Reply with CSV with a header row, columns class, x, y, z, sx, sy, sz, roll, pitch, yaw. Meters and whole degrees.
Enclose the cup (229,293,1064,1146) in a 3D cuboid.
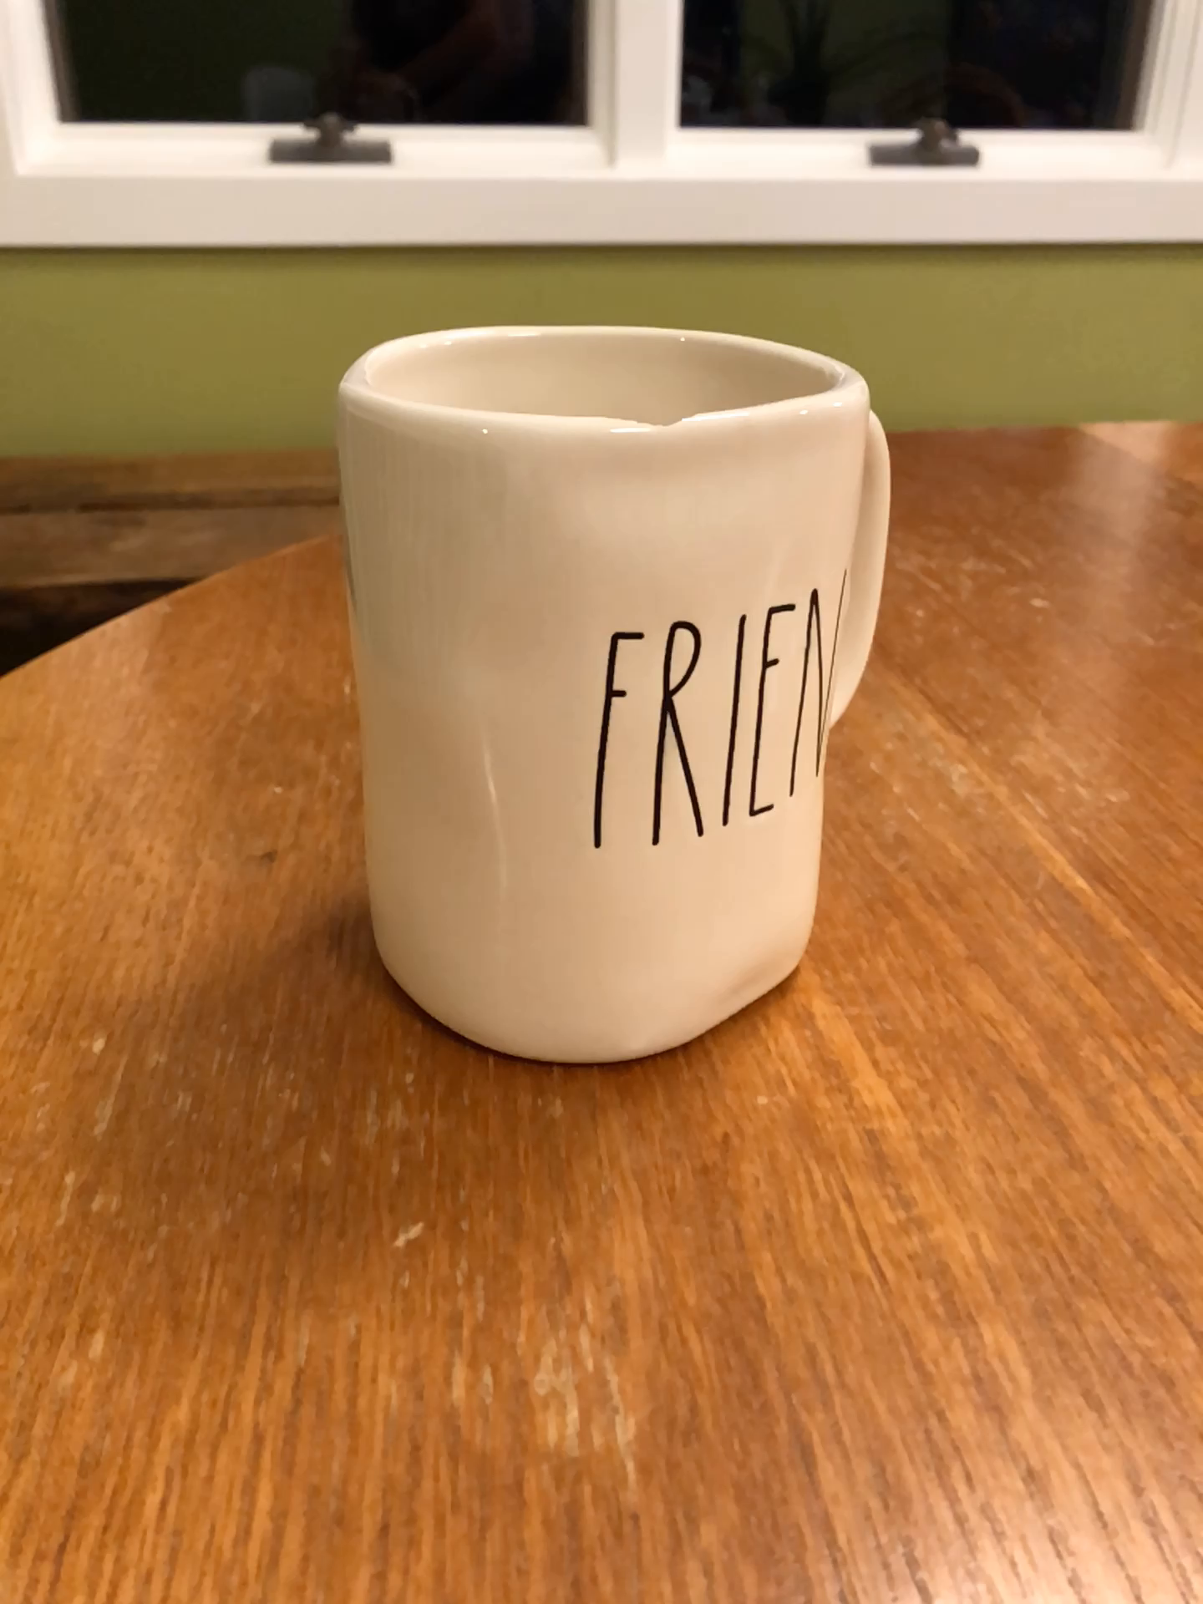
class,x,y,z,sx,sy,sz,roll,pitch,yaw
cup,0.012,-0.028,0.260,0.084,0.114,0.125,25,36,38
